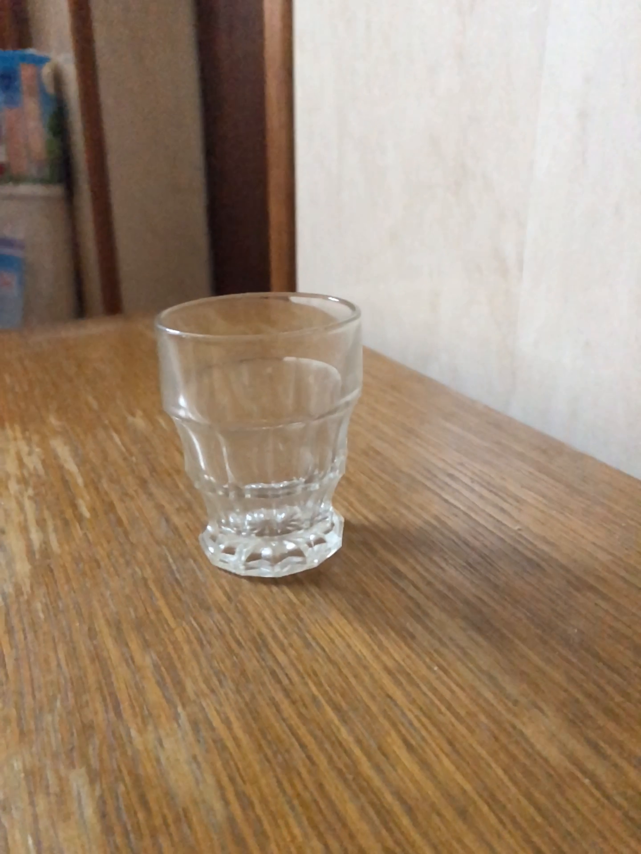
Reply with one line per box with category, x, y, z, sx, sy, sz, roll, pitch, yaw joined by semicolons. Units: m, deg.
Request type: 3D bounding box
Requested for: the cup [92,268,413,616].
cup;-0.018;-0.002;0.203;0.060;0.070;0.060;0;22;0
